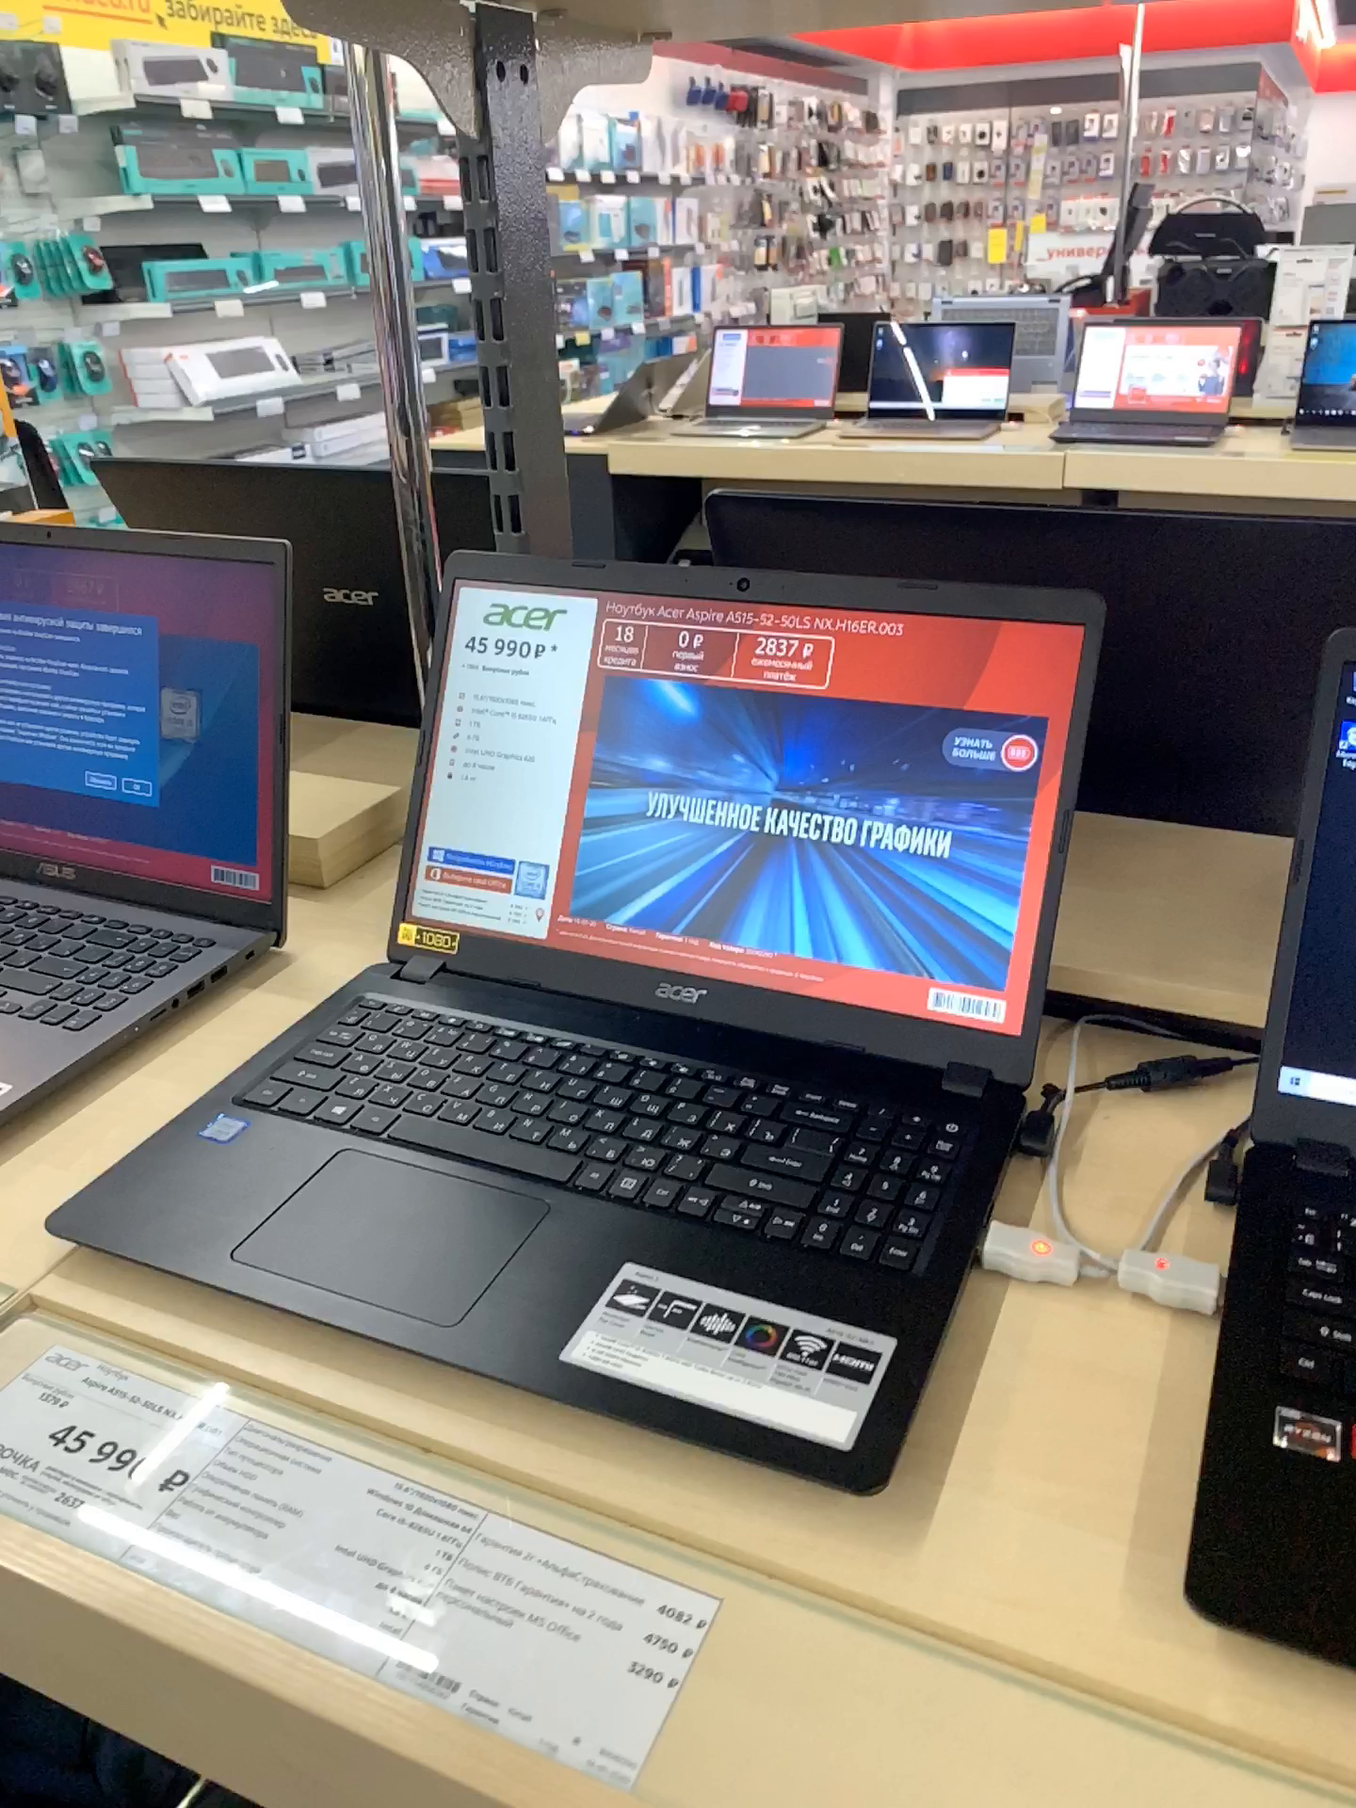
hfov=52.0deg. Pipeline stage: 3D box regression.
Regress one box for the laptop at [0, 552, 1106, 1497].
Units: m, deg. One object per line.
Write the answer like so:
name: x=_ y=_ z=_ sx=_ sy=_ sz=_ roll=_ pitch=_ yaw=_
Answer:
laptop: x=-0.033 y=-0.006 z=0.626 sx=0.368 sy=0.208 sz=0.366 roll=9 pitch=28 yaw=22
